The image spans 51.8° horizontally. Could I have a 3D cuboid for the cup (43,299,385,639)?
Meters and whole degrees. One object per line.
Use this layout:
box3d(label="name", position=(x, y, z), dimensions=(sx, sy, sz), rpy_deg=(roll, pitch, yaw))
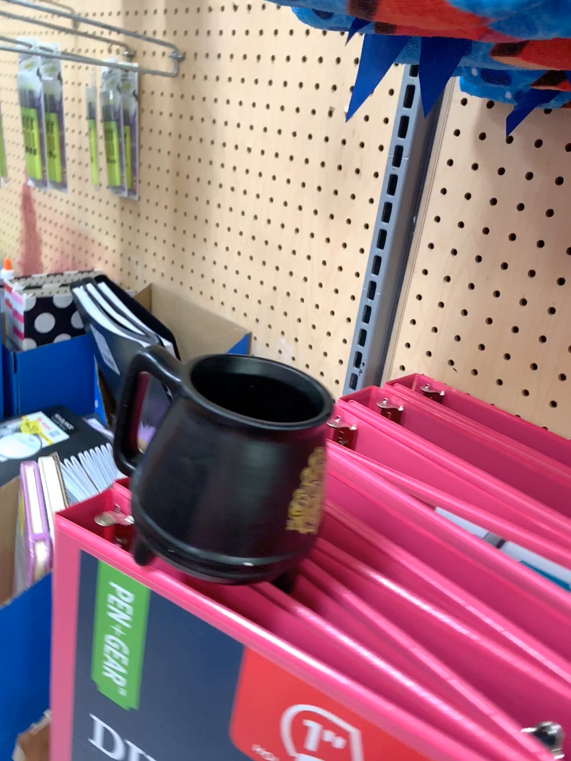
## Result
box3d(label="cup", position=(-0.036, 0.030, 0.287), dimensions=(0.122, 0.093, 0.097), rpy_deg=(22, 26, 24))
